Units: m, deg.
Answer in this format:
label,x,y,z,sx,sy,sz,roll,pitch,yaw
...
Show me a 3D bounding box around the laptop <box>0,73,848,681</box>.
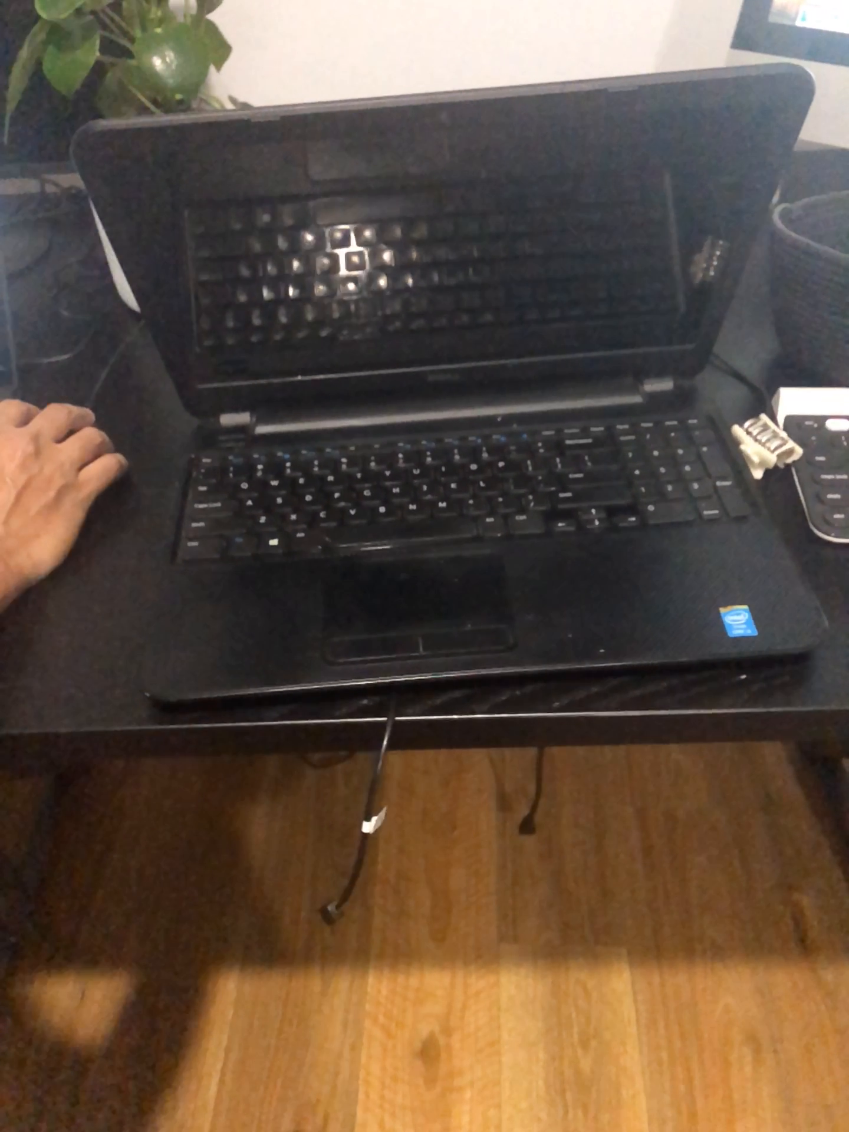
label,x,y,z,sx,sy,sz,roll,pitch,yaw
laptop,0.012,-0.100,0.500,0.366,0.210,0.207,-4,44,1
